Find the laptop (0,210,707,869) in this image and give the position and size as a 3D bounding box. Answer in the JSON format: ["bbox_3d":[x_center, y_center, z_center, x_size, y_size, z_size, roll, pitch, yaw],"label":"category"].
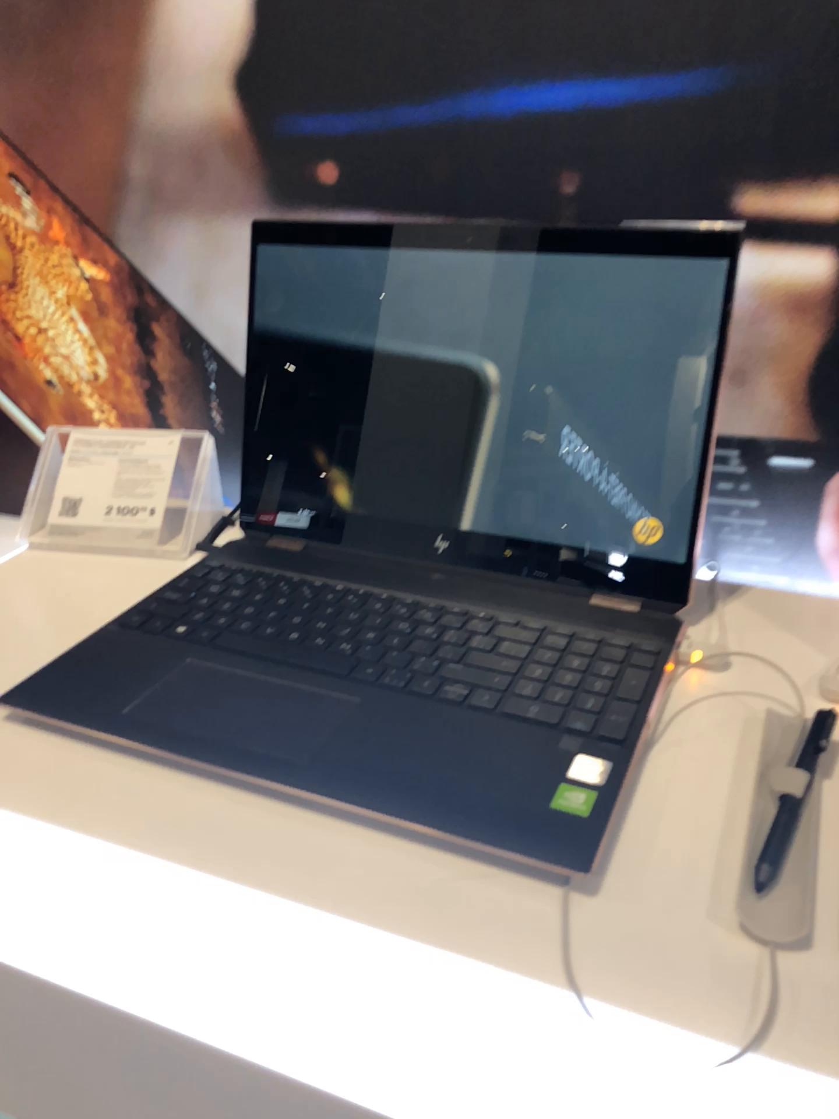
[{"bbox_3d":[-0.034,-0.063,0.533,0.333,0.226,0.323,10,27,20],"label":"laptop"}]
